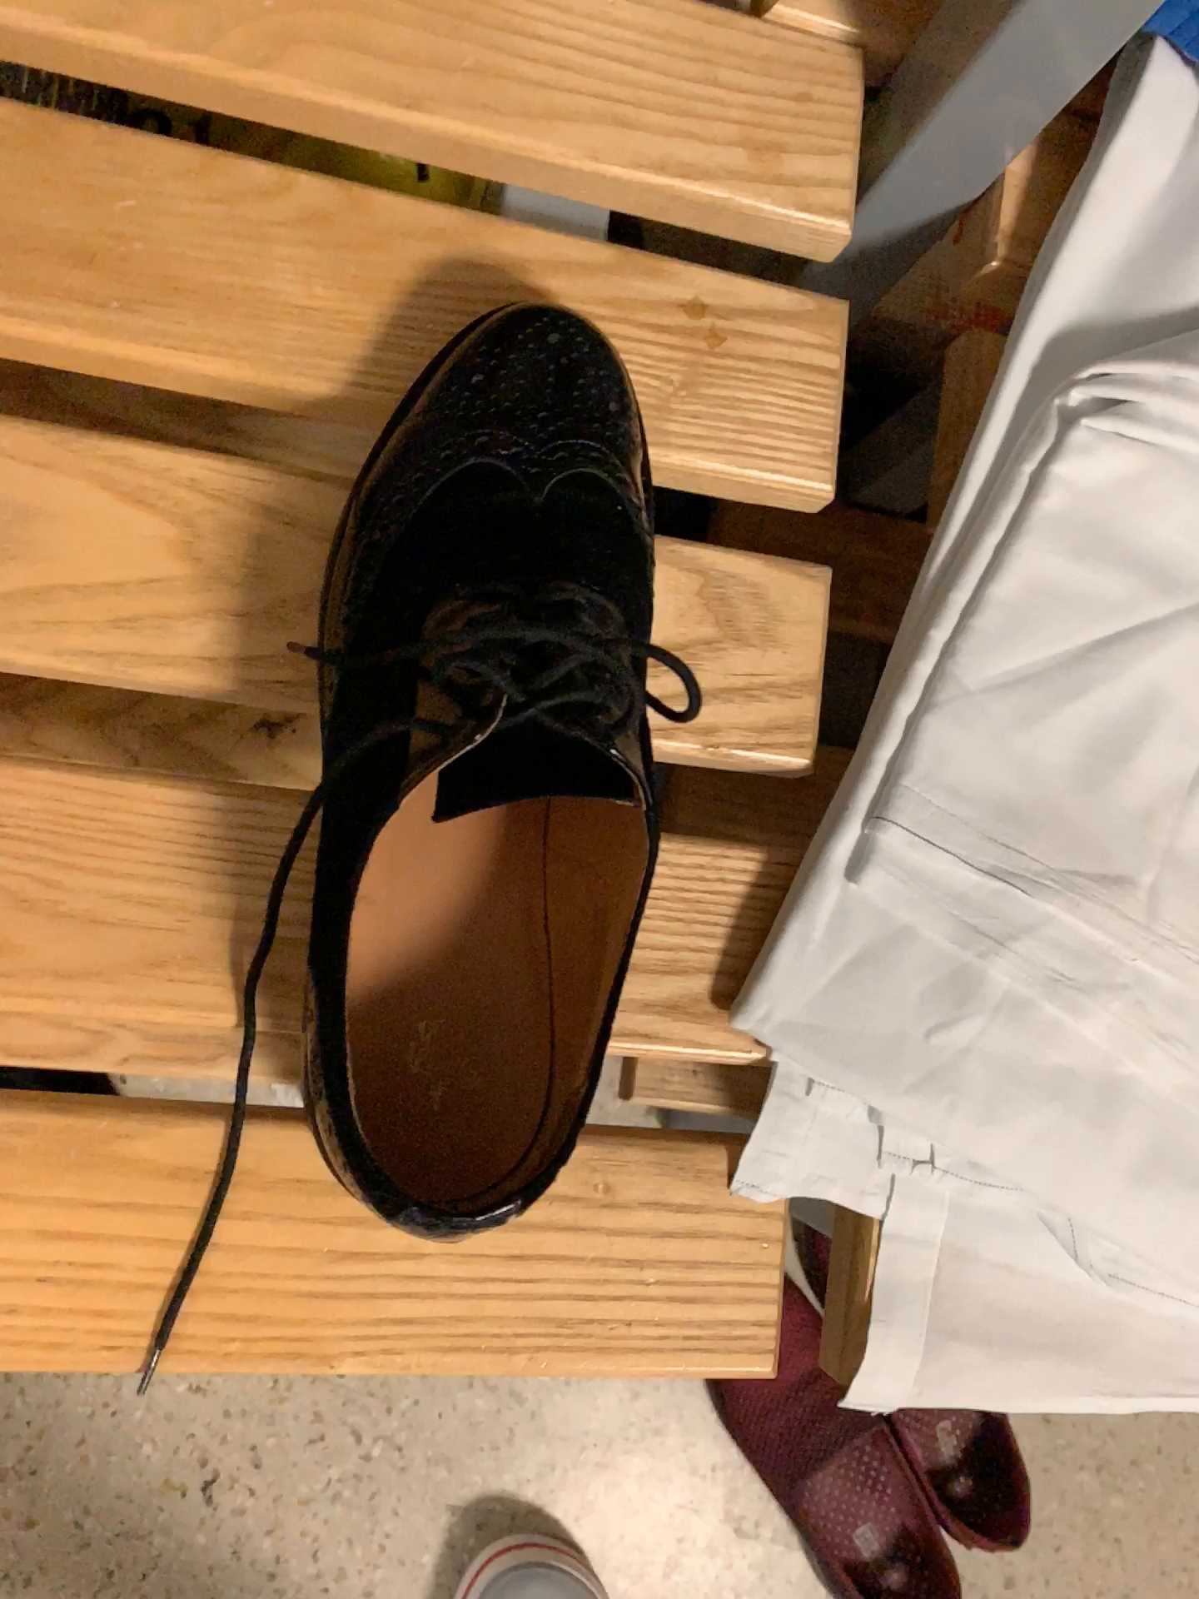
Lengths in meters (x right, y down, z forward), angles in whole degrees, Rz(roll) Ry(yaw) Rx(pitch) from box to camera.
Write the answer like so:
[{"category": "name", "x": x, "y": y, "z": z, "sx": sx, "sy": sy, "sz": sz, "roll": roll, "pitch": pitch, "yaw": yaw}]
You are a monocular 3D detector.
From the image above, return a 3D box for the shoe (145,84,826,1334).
[{"category": "shoe", "x": -0.027, "y": -0.018, "z": 0.305, "sx": 0.099, "sy": 0.095, "sz": 0.250, "roll": 12, "pitch": 81, "yaw": -13}]
